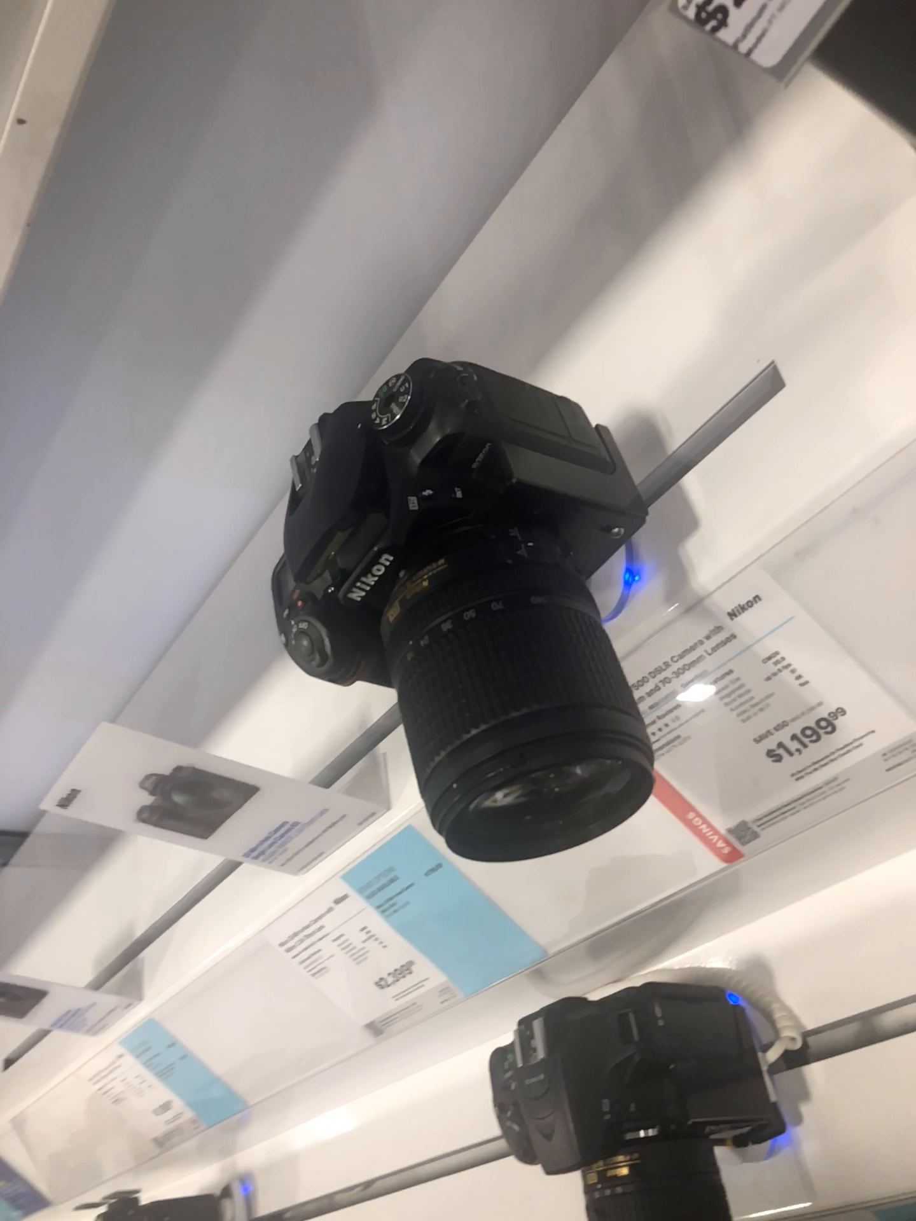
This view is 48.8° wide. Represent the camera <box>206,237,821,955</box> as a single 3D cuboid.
[{"bbox_3d":[-0.001,0.002,0.369,0.151,0.119,0.190,-48,42,36],"label":"camera"}]
